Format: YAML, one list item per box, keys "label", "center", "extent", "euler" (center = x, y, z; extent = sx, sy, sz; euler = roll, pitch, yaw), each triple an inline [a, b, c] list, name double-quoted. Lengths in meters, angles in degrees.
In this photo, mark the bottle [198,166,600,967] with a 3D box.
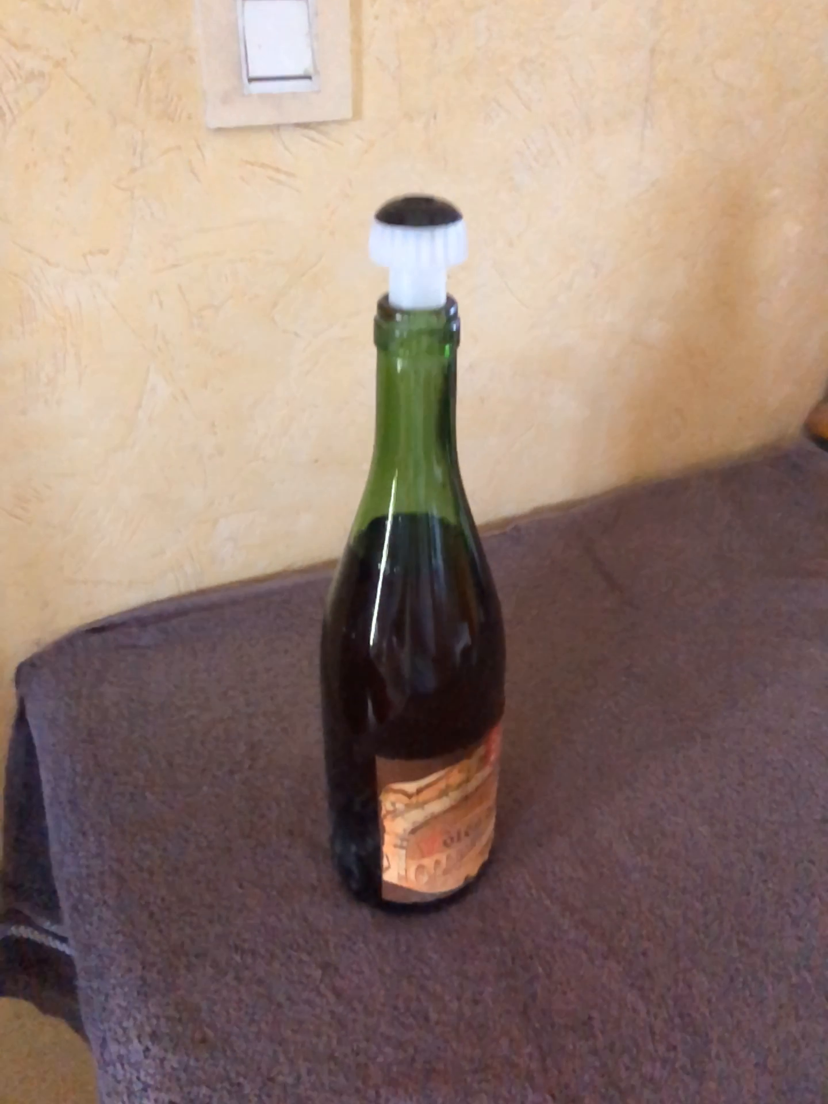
- label: "bottle"
  center: [-0.003, 0.021, 0.372]
  extent: [0.090, 0.308, 0.091]
  euler: [0, 34, 0]
